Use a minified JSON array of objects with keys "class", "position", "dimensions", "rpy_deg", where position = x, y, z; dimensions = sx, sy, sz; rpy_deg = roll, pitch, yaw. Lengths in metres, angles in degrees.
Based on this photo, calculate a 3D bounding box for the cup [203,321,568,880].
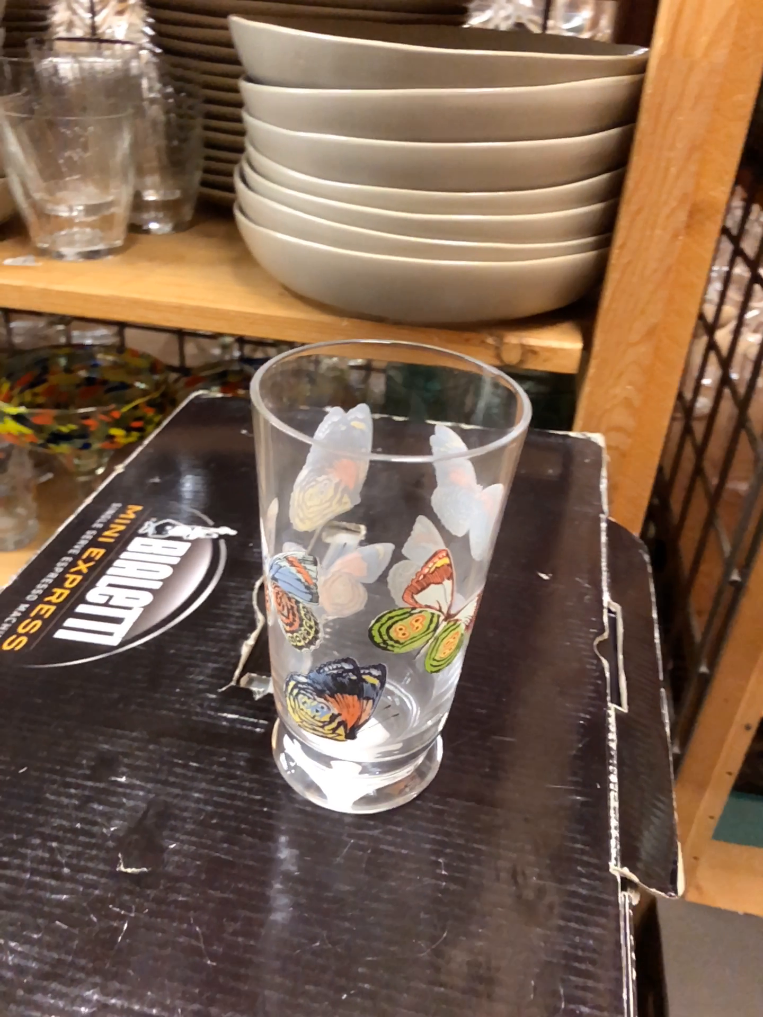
[{"class":"cup","position":[0.003,0.024,0.244],"dimensions":[0.074,0.125,0.079],"rpy_deg":[3,31,-2]}]
